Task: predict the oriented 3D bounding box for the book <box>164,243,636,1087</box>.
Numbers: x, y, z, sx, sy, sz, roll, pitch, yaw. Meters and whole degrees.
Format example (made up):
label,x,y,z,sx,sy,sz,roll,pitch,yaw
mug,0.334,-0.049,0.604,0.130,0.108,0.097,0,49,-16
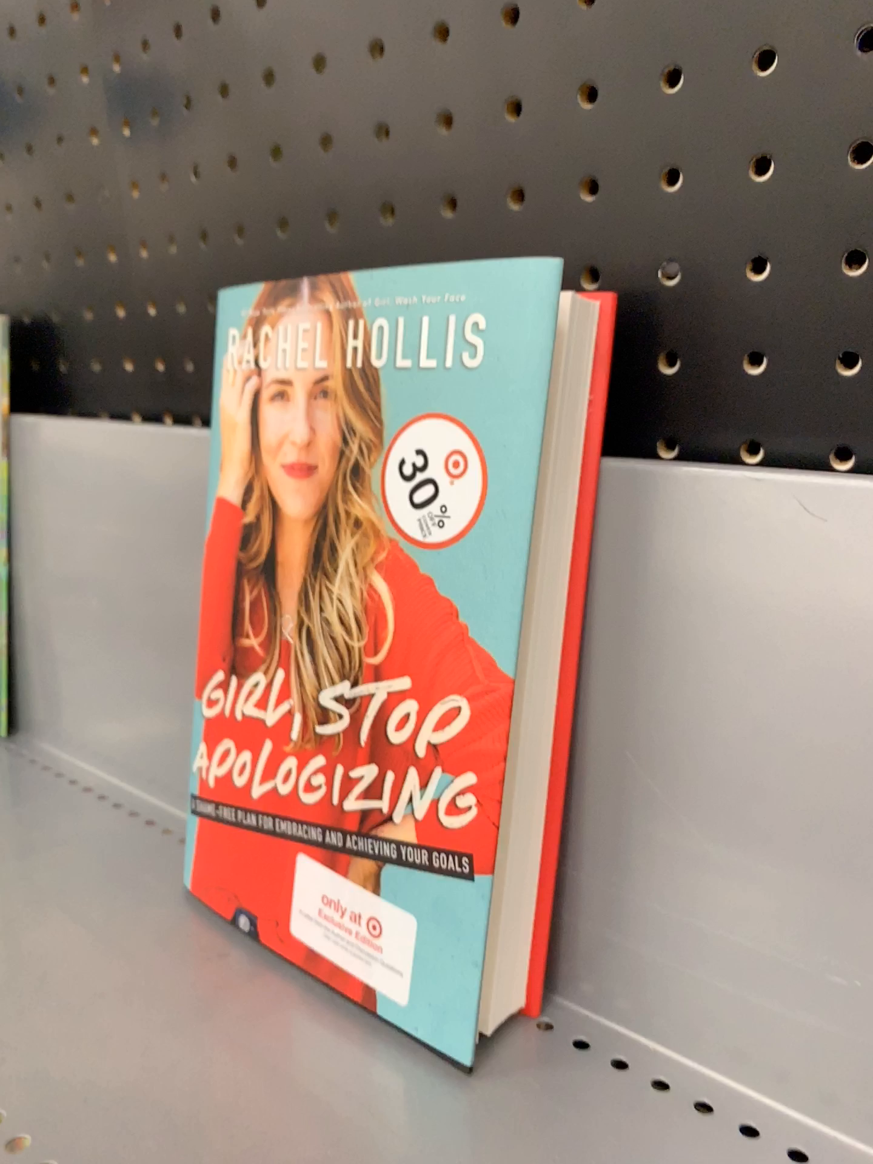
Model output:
label,x,y,z,sx,sy,sz,roll,pitch,yaw
book,-0.024,0.015,0.295,0.149,0.220,0.035,12,9,41
